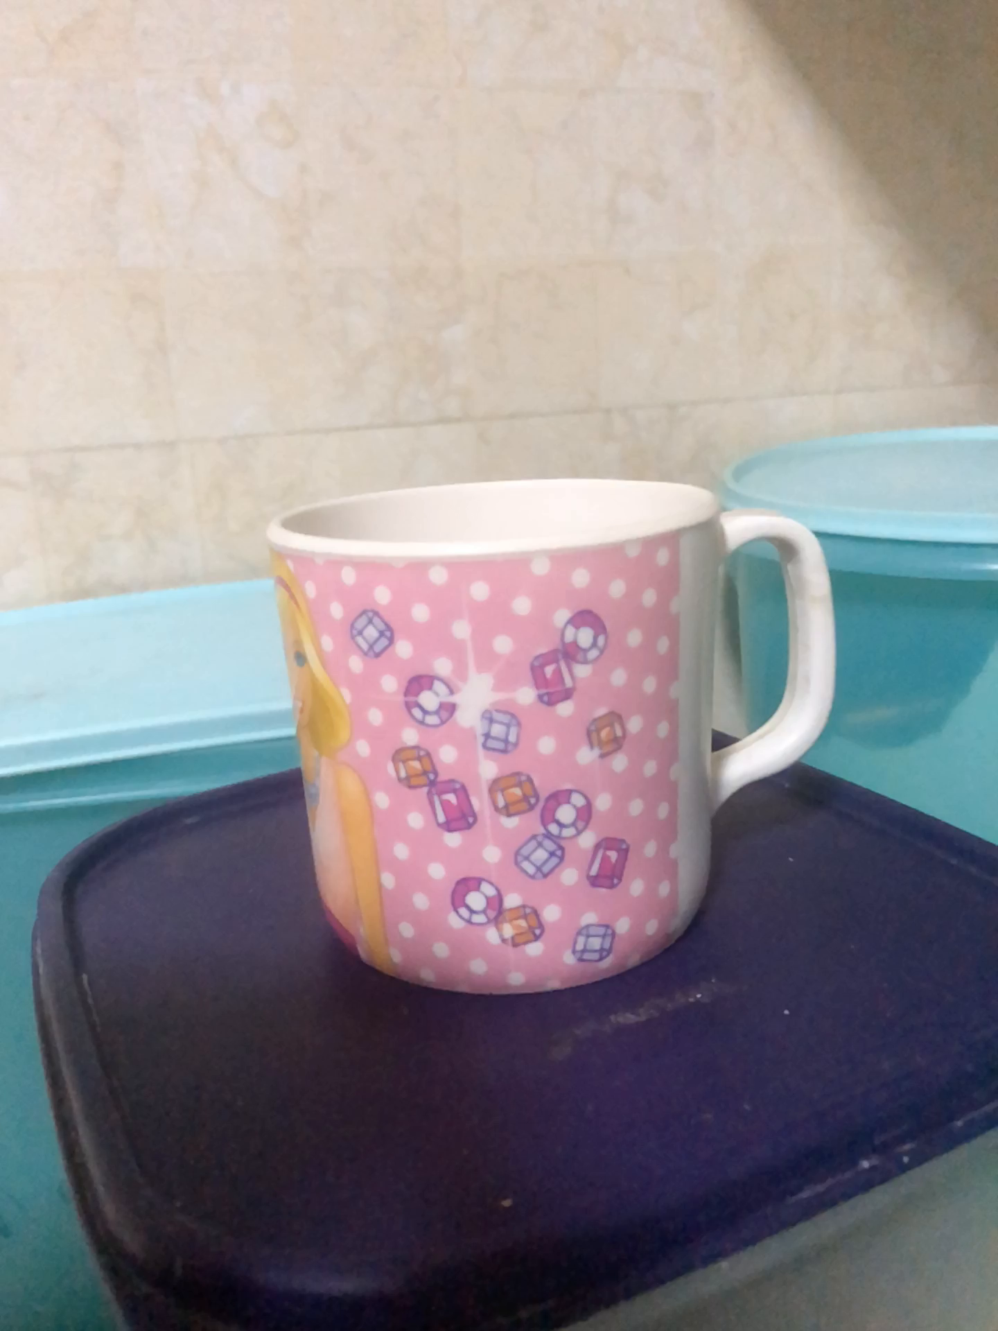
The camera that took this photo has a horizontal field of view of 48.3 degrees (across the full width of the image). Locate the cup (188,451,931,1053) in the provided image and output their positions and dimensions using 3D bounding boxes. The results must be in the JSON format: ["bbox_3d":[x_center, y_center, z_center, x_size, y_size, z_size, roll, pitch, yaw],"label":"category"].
[{"bbox_3d":[0.010,0.004,0.225,0.120,0.080,0.080,-10,16,-23],"label":"cup"}]
